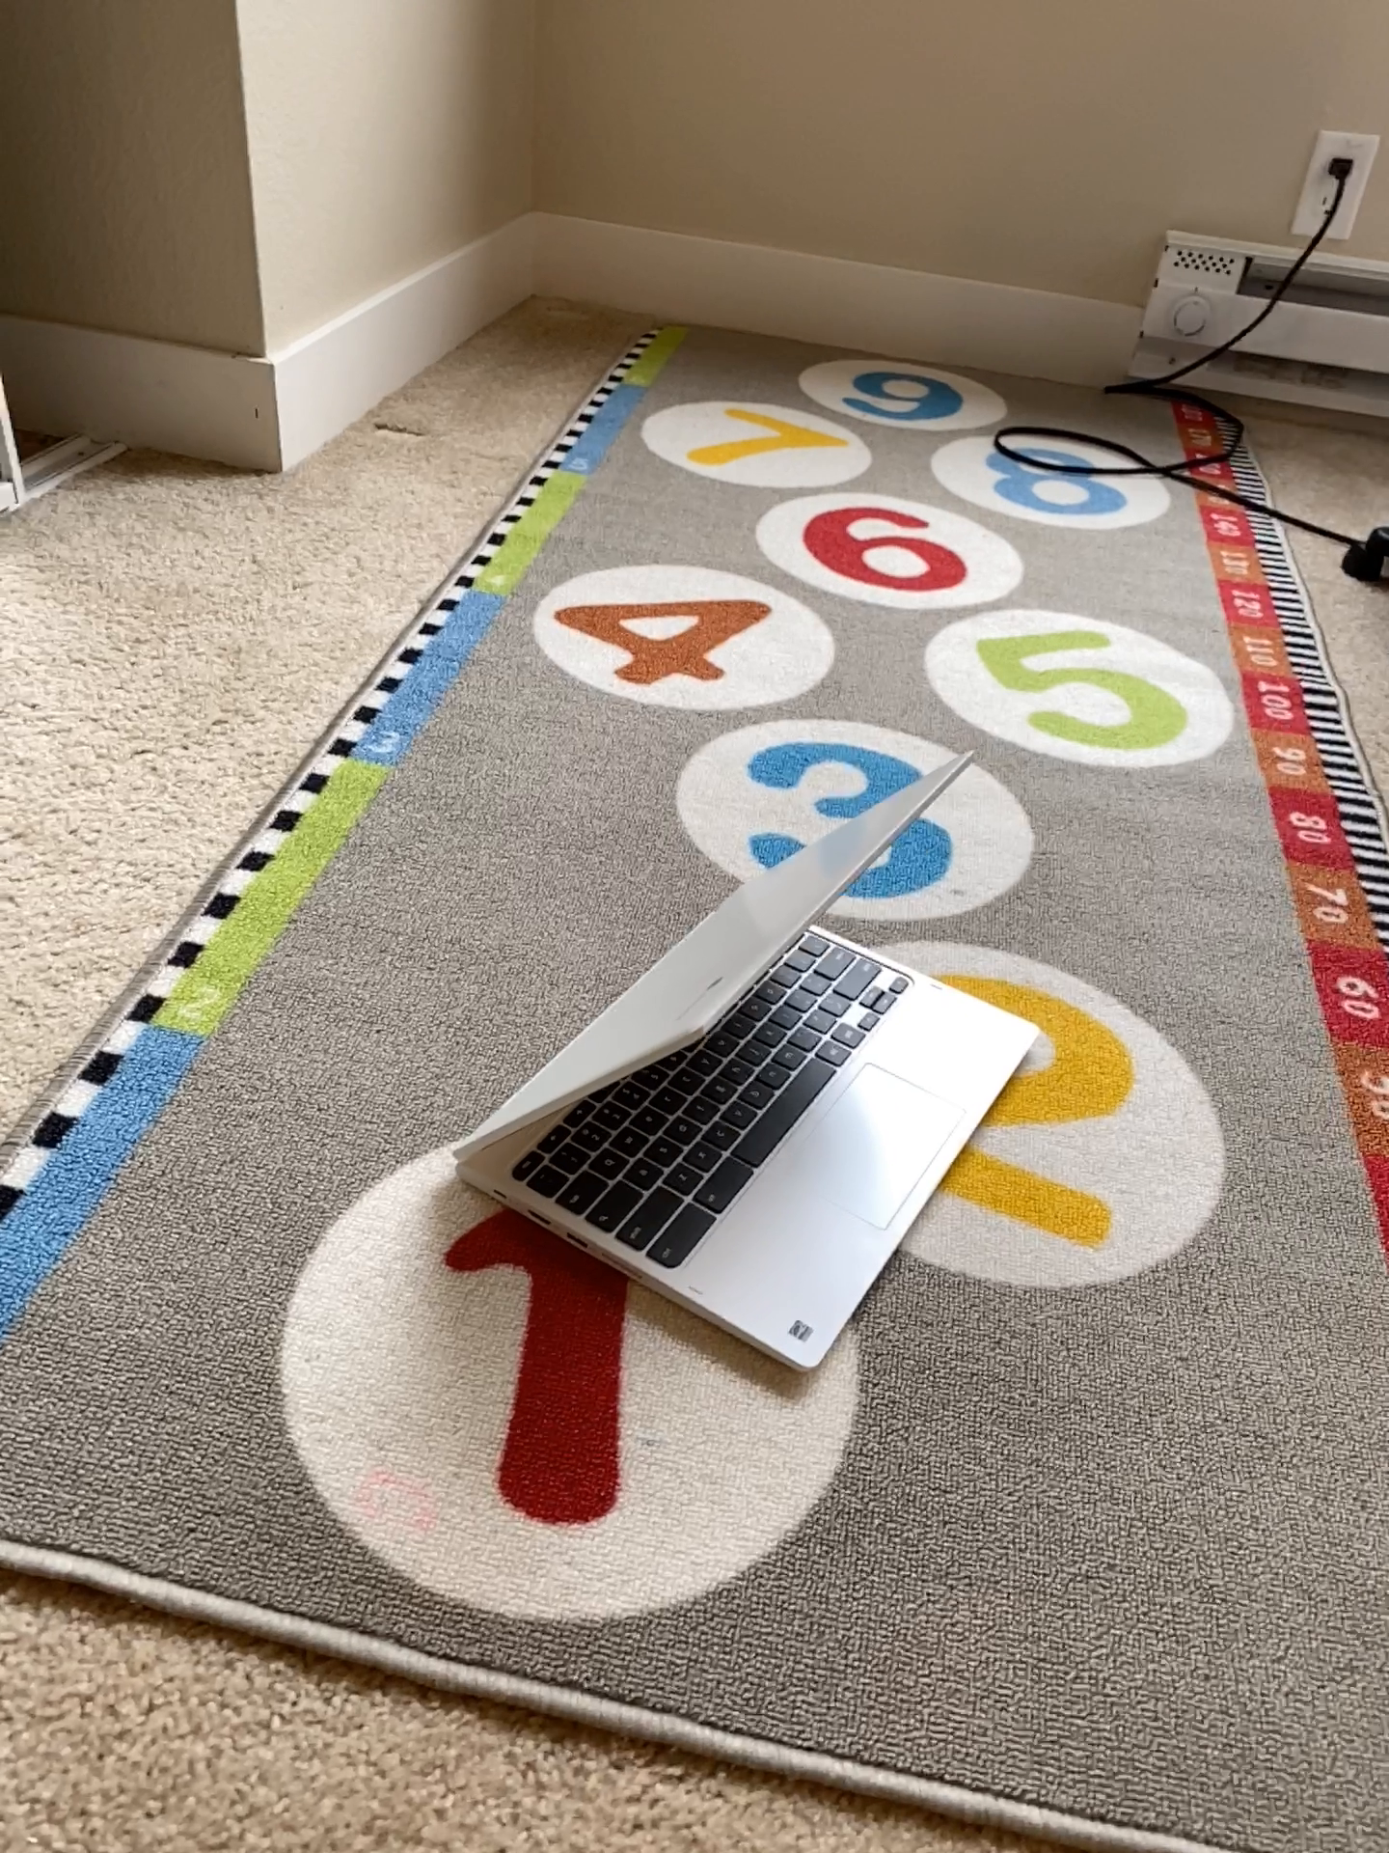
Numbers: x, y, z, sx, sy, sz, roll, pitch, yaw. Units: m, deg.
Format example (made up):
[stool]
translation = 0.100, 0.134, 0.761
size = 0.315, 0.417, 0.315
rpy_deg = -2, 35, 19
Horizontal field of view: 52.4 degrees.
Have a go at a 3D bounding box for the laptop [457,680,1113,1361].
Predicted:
[laptop]
translation = 0.052, 0.026, 0.752
size = 0.217, 0.164, 0.295
rpy_deg = 23, 40, 22
